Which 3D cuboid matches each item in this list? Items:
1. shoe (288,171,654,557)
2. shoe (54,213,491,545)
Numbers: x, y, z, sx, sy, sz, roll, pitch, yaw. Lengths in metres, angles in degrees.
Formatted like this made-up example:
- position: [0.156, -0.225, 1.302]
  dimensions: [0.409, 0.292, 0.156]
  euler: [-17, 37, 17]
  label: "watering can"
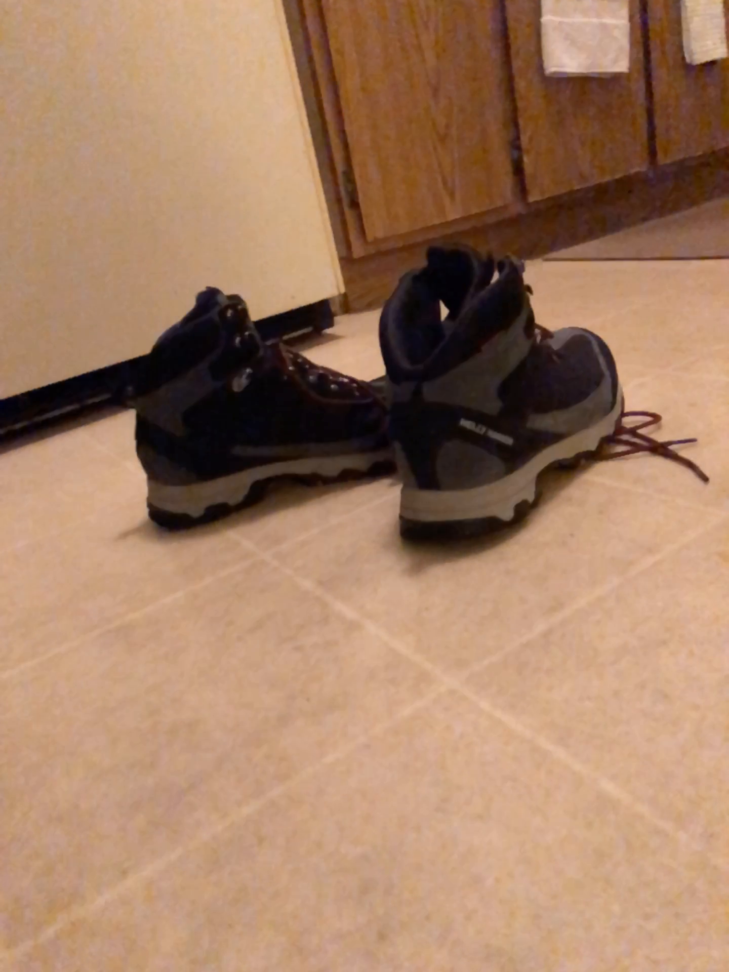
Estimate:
- position: [0.106, -0.110, 0.617]
  dimensions: [0.116, 0.195, 0.300]
  euler: [6, 28, 39]
  label: "shoe"
- position: [-0.071, -0.101, 0.694]
  dimensions: [0.309, 0.195, 0.127]
  euler: [-15, 21, -6]
  label: "shoe"
